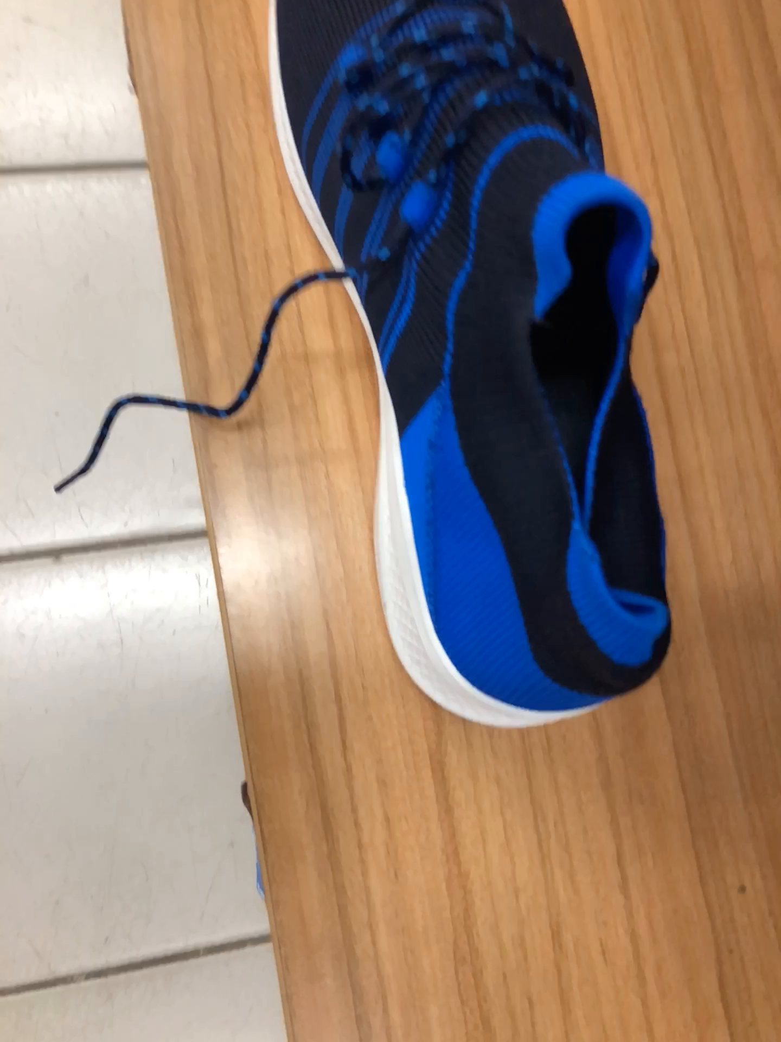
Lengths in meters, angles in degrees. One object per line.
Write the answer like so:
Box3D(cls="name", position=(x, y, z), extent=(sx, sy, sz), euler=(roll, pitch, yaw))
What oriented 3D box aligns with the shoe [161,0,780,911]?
Box3D(cls="shoe", position=(0.031, -0.071, 0.208), extent=(0.110, 0.110, 0.260), euler=(-11, 85, -10))
